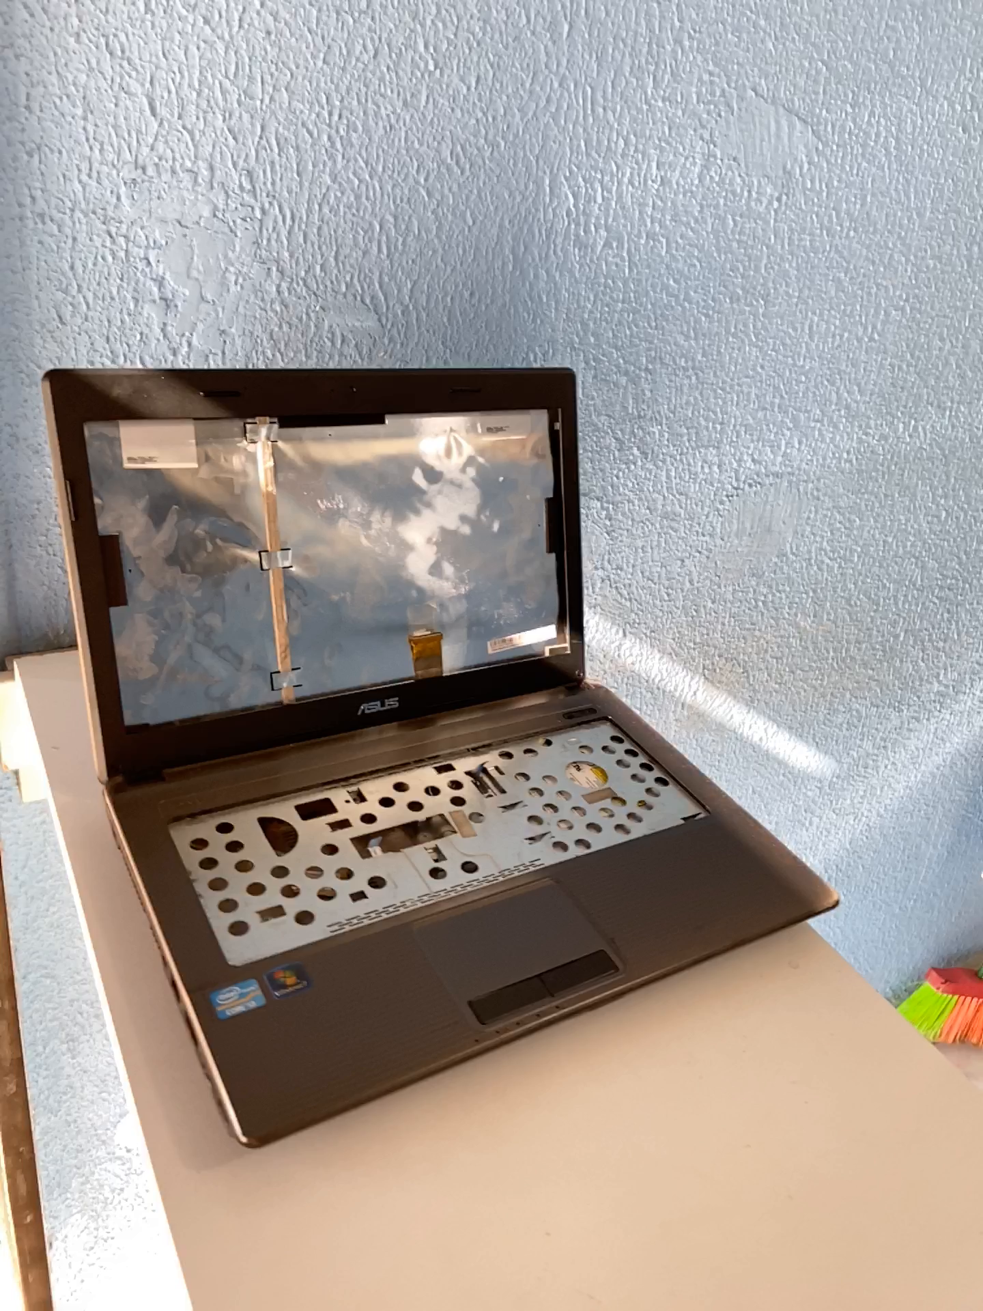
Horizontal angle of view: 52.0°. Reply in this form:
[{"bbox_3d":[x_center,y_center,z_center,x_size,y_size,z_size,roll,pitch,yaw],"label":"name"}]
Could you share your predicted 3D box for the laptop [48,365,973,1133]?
[{"bbox_3d":[-0.019,-0.007,0.544,0.337,0.202,0.328,-10,34,-31],"label":"laptop"}]
